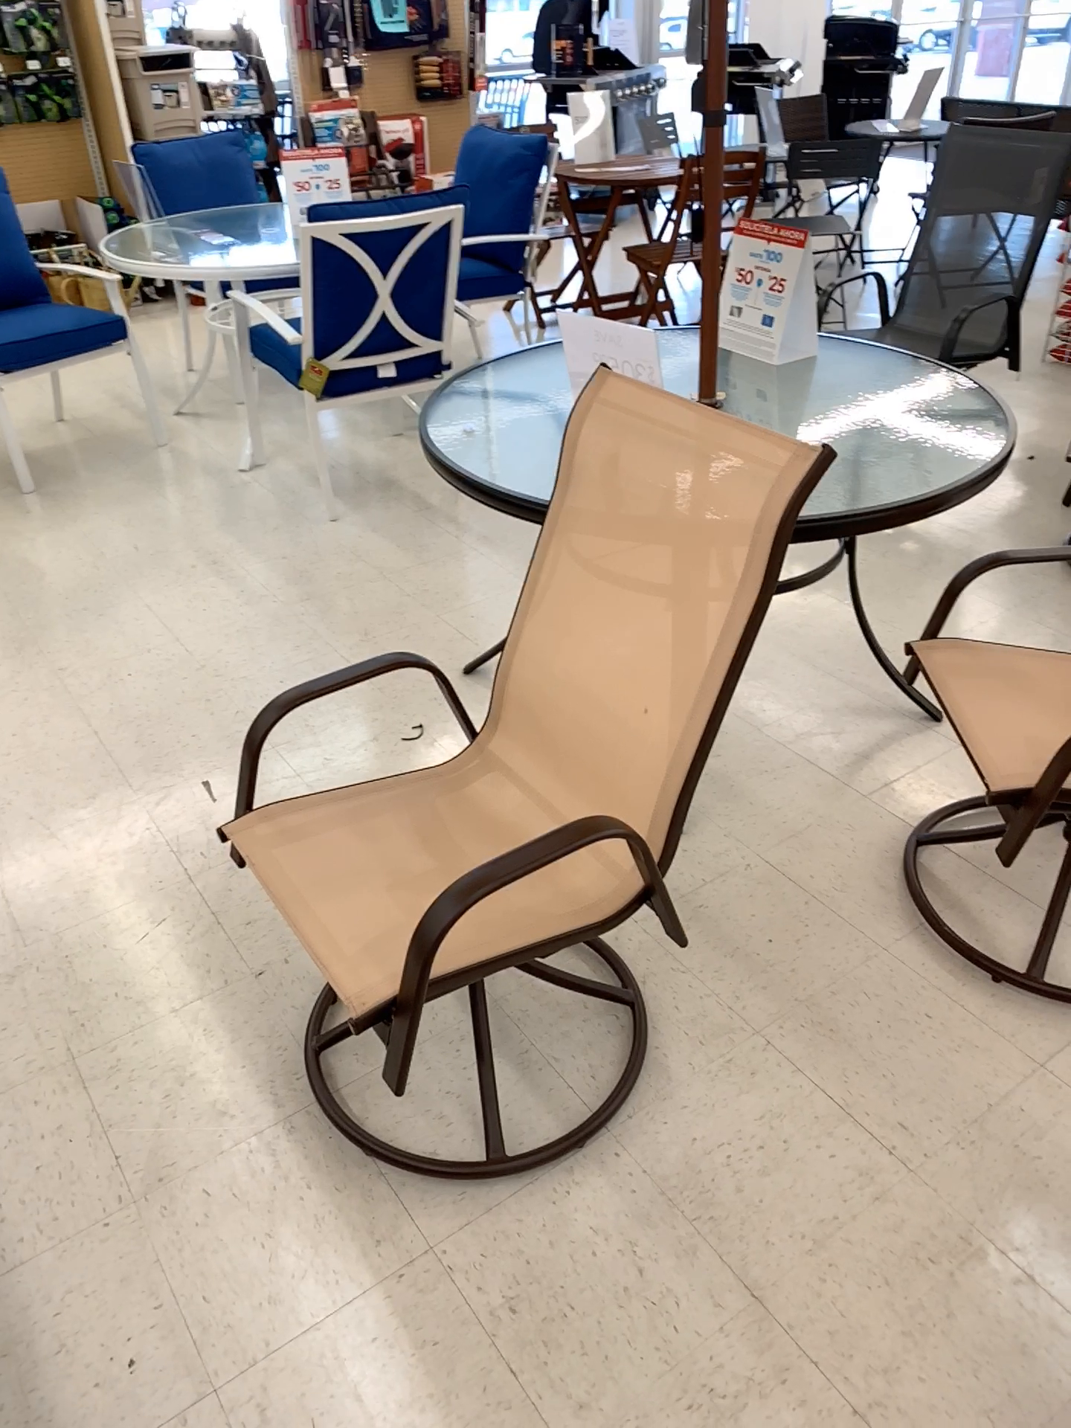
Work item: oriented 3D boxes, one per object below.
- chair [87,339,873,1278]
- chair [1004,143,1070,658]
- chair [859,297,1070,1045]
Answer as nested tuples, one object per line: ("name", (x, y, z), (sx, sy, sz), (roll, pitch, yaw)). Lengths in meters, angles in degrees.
("chair", (-0.064, 0.090, 1.516), (0.708, 0.956, 0.570), (-22, 39, -28))
("chair", (1.575, -0.757, 2.537), (0.569, 0.916, 0.709), (19, 39, 28))
("chair", (0.958, -0.072, 1.680), (0.707, 0.956, 0.571), (3, 34, 8))
